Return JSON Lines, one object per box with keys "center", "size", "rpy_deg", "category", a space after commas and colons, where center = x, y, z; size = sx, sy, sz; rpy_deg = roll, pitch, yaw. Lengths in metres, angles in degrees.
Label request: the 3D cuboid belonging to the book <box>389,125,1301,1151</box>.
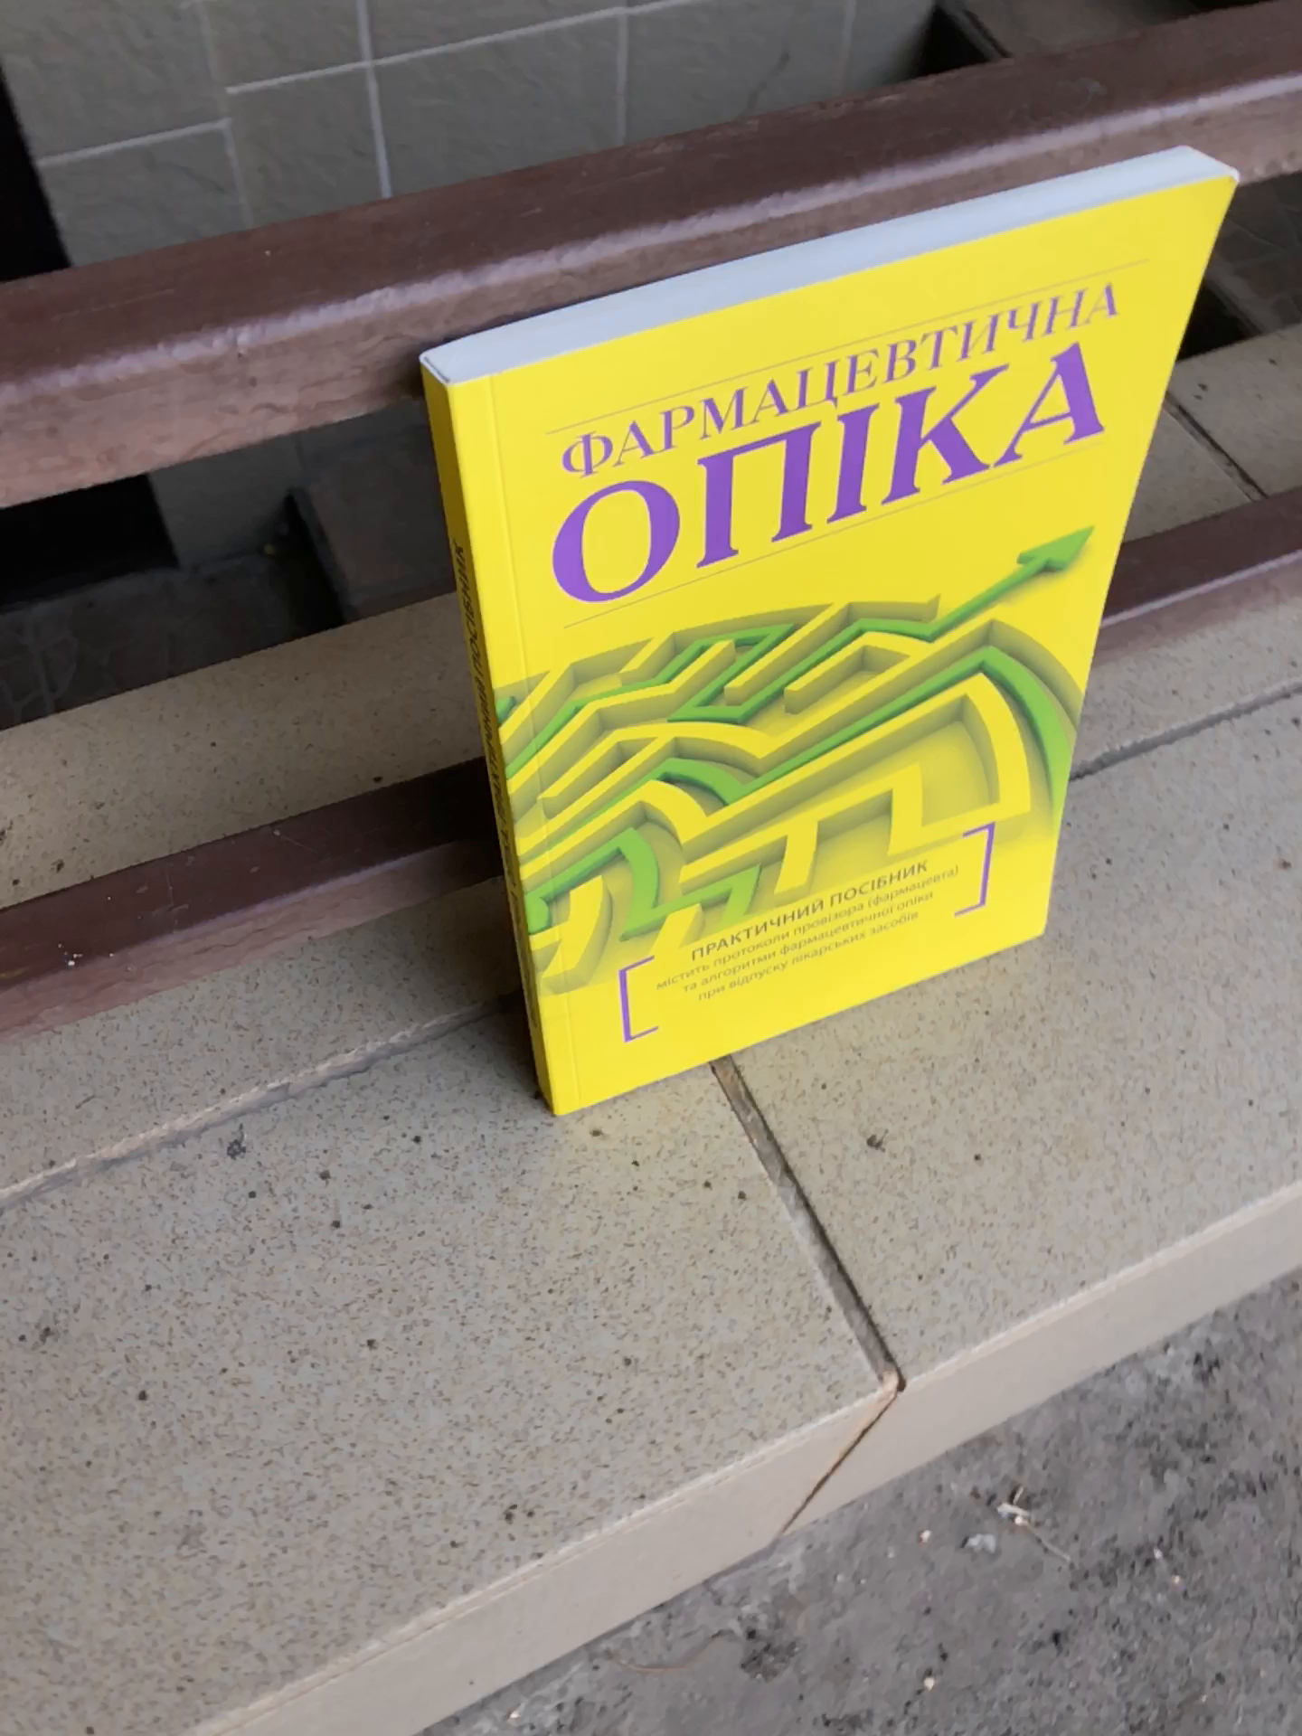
{"center": [0.047, -0.034, 0.352], "size": [0.180, 0.239, 0.030], "rpy_deg": [-19, 52, -14], "category": "book"}
